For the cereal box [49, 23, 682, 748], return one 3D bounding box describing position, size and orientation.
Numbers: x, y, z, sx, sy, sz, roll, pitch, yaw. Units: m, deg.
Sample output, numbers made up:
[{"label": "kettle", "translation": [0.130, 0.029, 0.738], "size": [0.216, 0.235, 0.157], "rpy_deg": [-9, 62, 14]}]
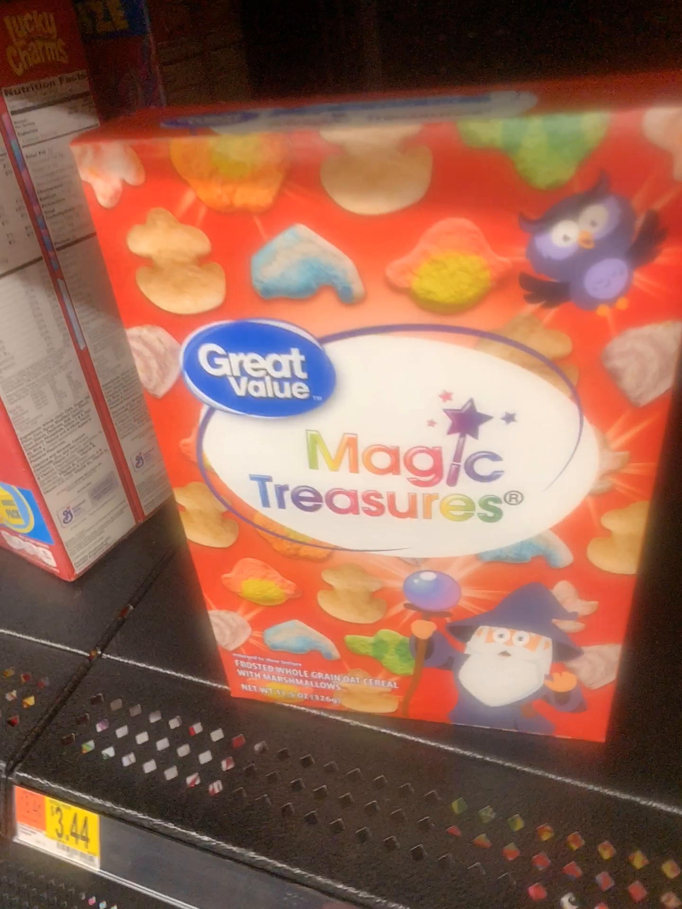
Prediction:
[{"label": "cereal box", "translation": [0.026, -0.009, 0.297], "size": [0.200, 0.279, 0.070], "rpy_deg": [2, 32, 13]}]
